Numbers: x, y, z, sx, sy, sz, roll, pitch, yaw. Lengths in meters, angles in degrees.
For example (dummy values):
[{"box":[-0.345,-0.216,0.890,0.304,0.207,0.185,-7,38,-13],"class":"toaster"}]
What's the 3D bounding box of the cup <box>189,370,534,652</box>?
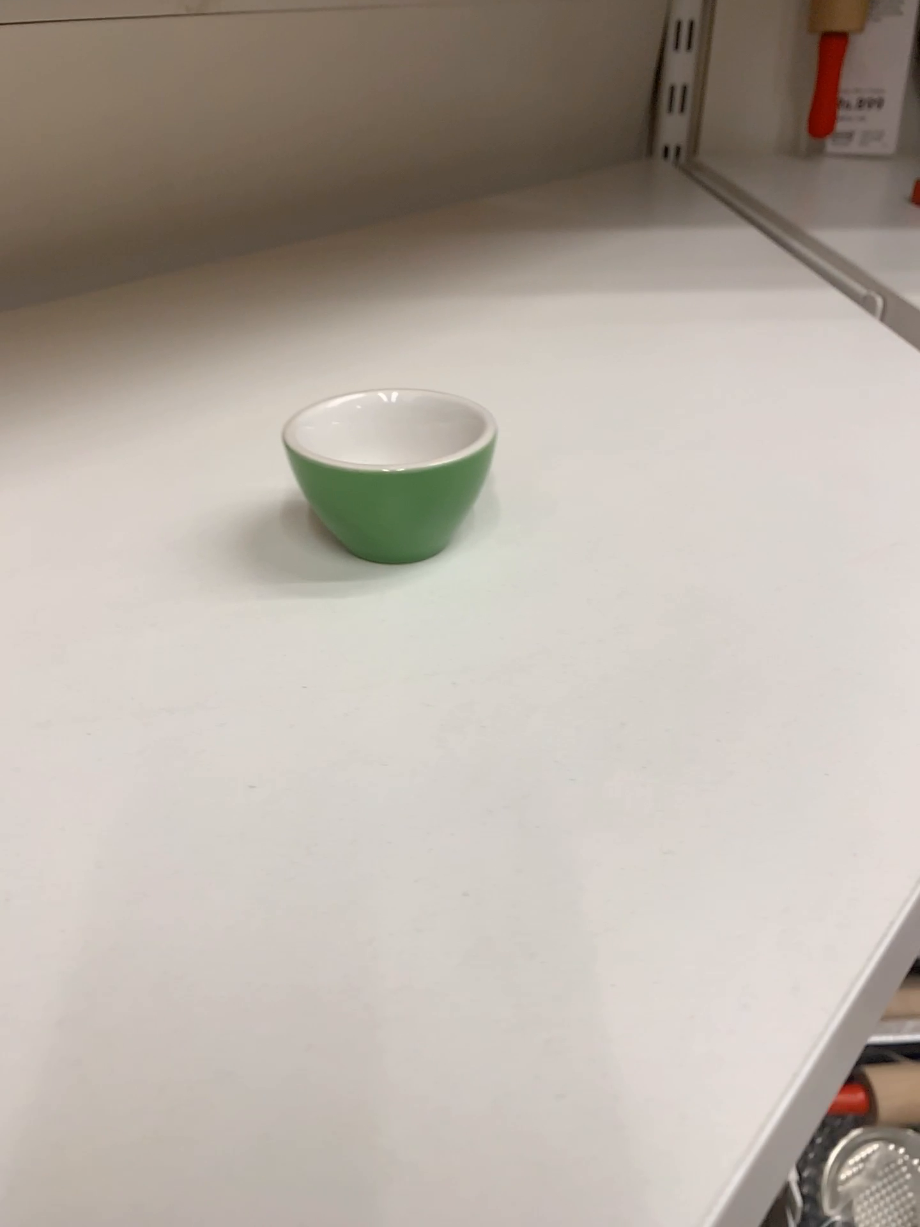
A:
[{"box":[-0.025,-0.033,0.267,0.060,0.040,0.070,25,41,33],"class":"cup"}]
